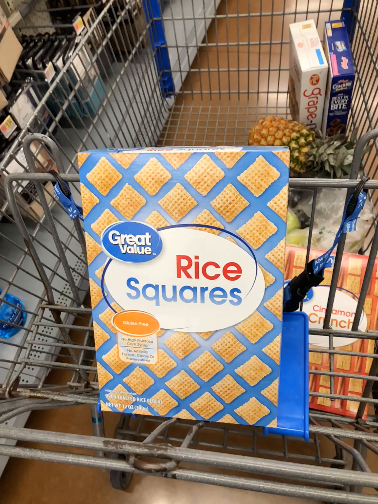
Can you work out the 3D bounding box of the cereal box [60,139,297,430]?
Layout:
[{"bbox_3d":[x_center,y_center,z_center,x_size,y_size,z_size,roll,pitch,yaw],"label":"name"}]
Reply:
[{"bbox_3d":[-0.004,0.029,0.436,0.210,0.280,0.080,2,16,11],"label":"cereal box"}]
